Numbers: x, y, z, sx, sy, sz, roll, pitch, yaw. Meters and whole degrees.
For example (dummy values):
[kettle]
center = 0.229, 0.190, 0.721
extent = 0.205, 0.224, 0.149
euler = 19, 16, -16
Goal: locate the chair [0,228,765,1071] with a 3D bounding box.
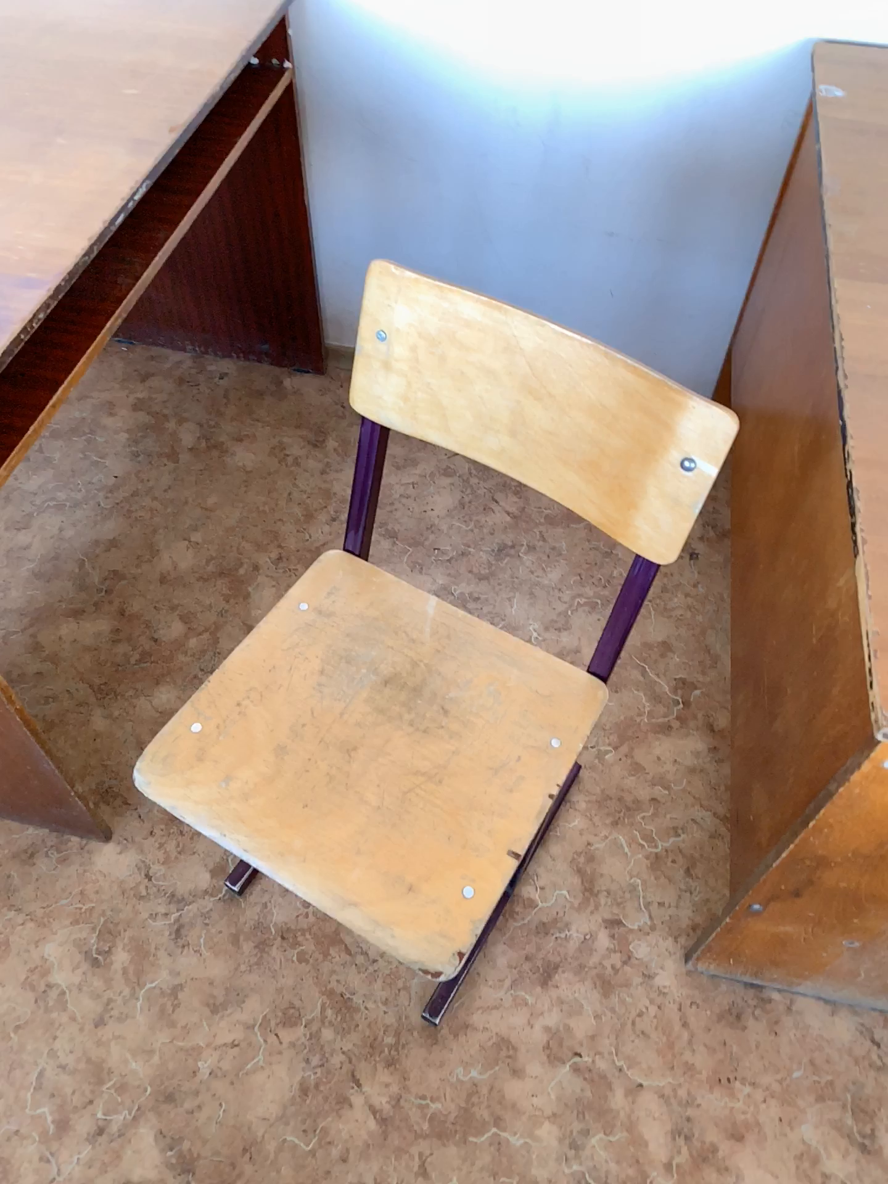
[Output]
[chair]
center = -0.028, 0.114, 0.972
extent = 0.381, 0.735, 0.472
euler = 27, 57, 18
